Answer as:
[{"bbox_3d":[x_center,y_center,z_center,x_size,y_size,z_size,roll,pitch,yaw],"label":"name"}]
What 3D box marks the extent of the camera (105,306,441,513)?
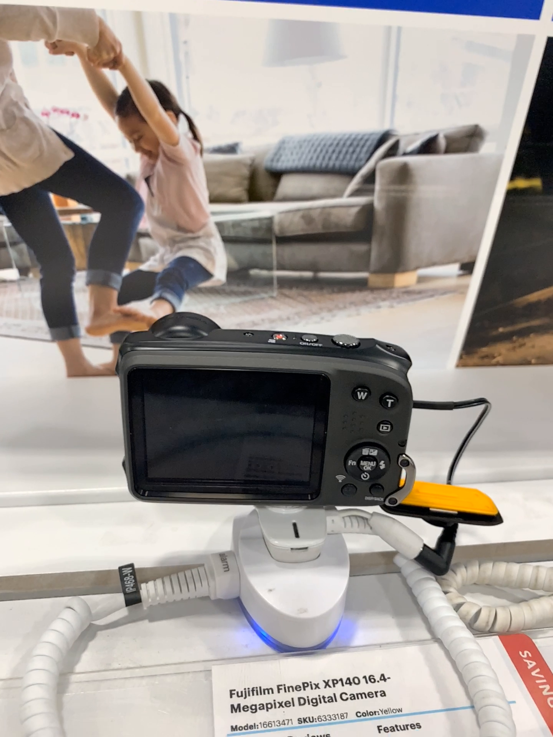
[{"bbox_3d":[-0.004,0.016,0.219,0.110,0.060,0.040,4,24,-8],"label":"camera"}]
